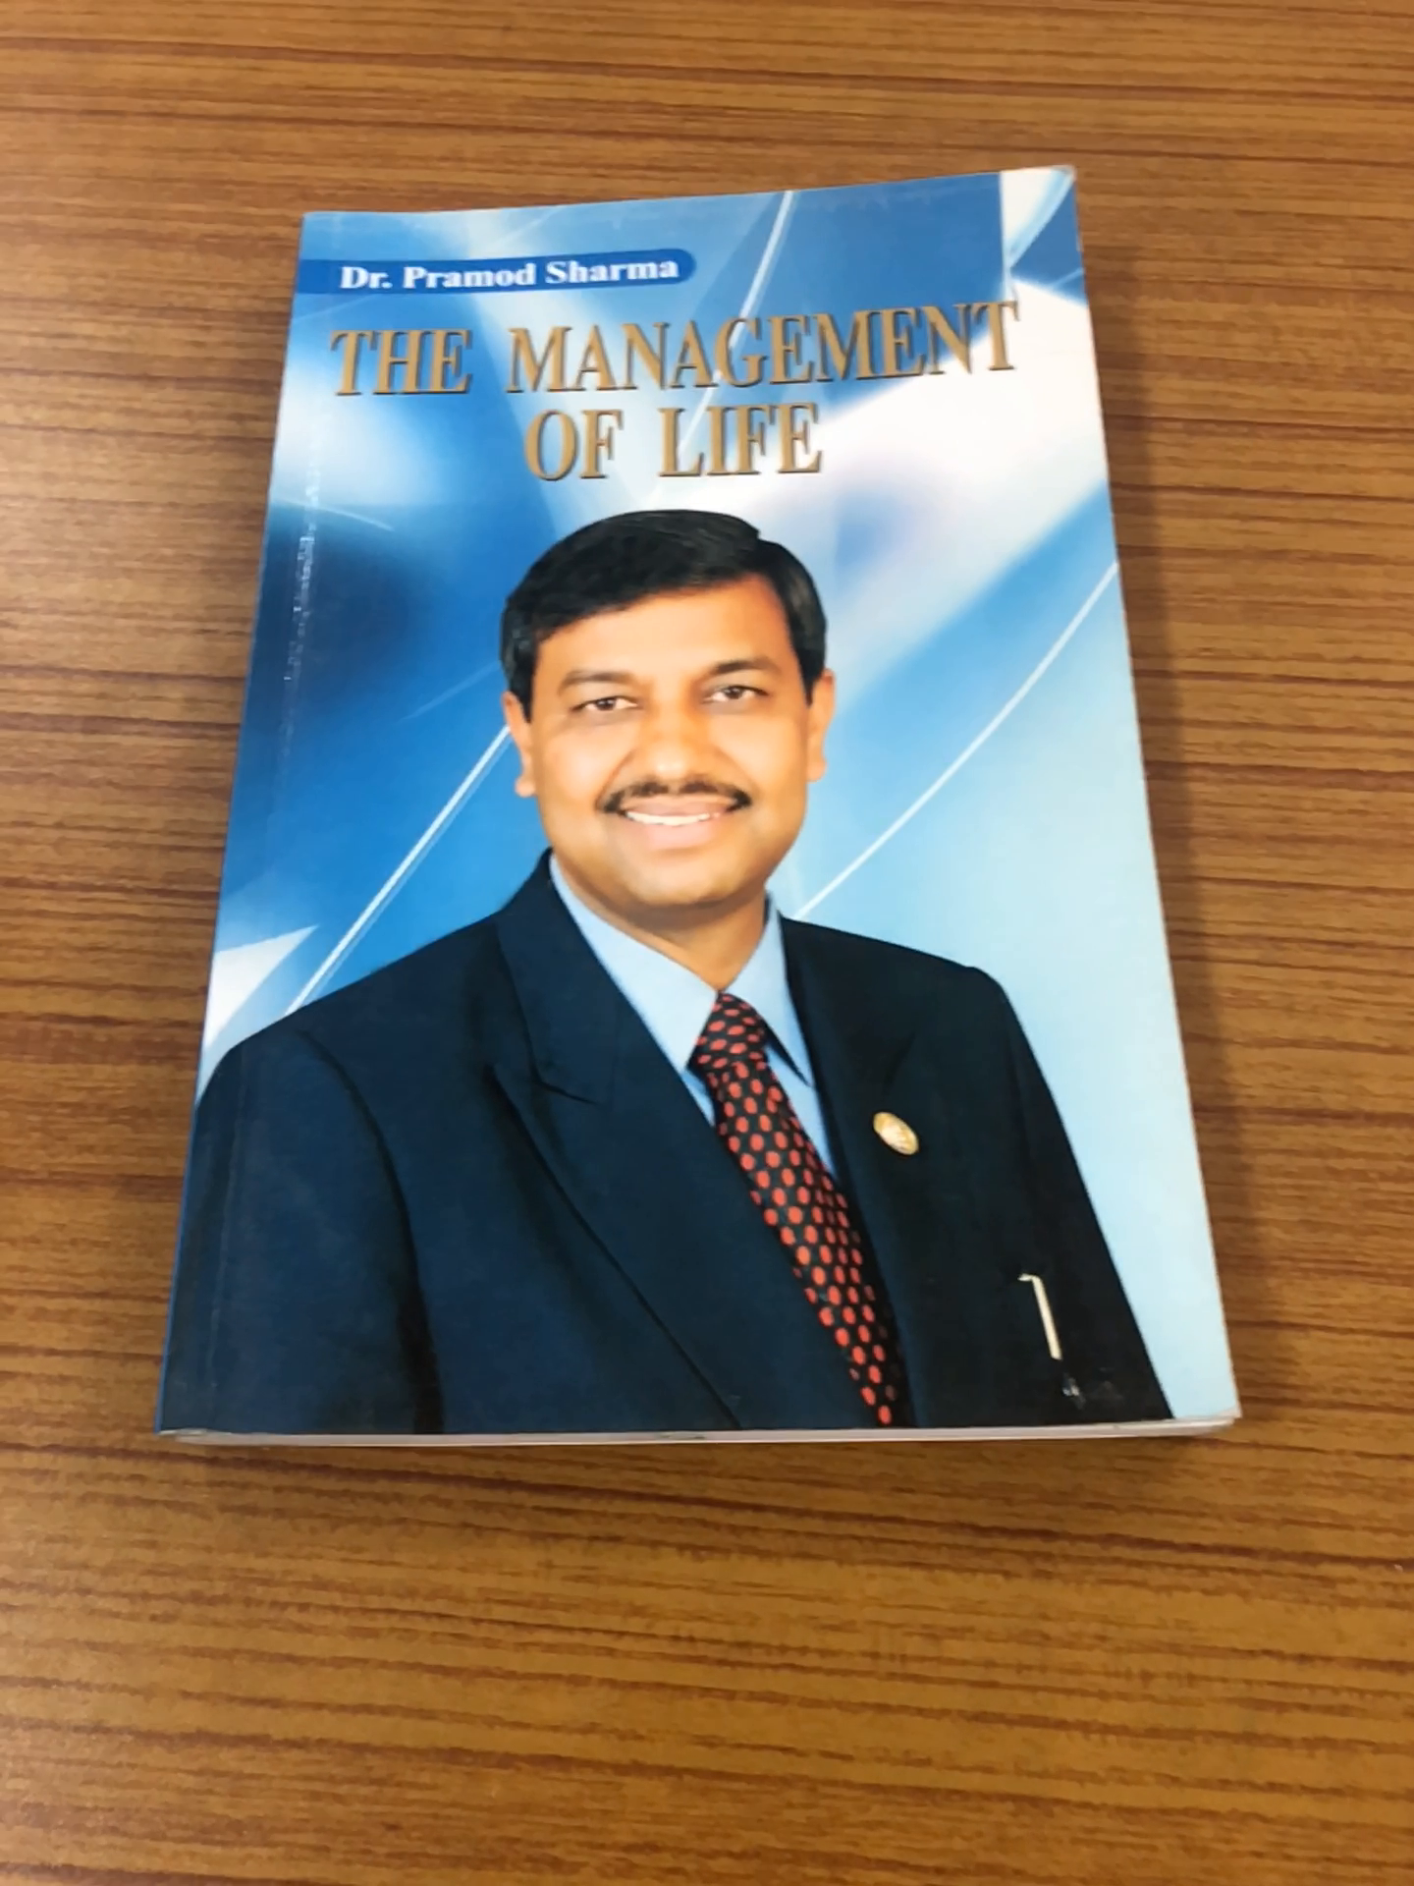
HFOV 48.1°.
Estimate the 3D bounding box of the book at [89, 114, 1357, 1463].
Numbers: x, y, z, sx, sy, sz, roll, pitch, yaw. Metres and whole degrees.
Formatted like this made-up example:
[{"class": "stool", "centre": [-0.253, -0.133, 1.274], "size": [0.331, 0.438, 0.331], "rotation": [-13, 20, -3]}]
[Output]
[{"class": "book", "centre": [0.000, -0.034, 0.237], "size": [0.150, 0.020, 0.210], "rotation": [-2, 67, 4]}]
